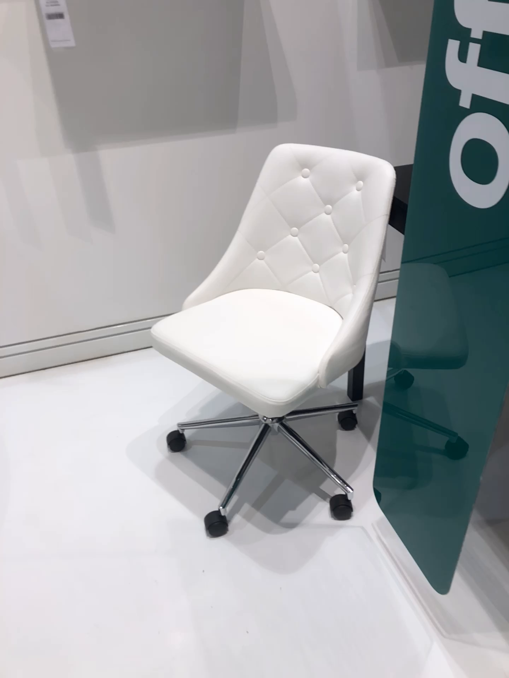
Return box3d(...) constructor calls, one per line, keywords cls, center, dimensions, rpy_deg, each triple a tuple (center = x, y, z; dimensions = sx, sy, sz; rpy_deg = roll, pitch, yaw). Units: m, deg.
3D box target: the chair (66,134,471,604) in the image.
box3d(cls="chair", center=(0.050, 0.021, 1.443), dimensions=(0.602, 0.853, 0.642), rpy_deg=(27, 44, 37))
